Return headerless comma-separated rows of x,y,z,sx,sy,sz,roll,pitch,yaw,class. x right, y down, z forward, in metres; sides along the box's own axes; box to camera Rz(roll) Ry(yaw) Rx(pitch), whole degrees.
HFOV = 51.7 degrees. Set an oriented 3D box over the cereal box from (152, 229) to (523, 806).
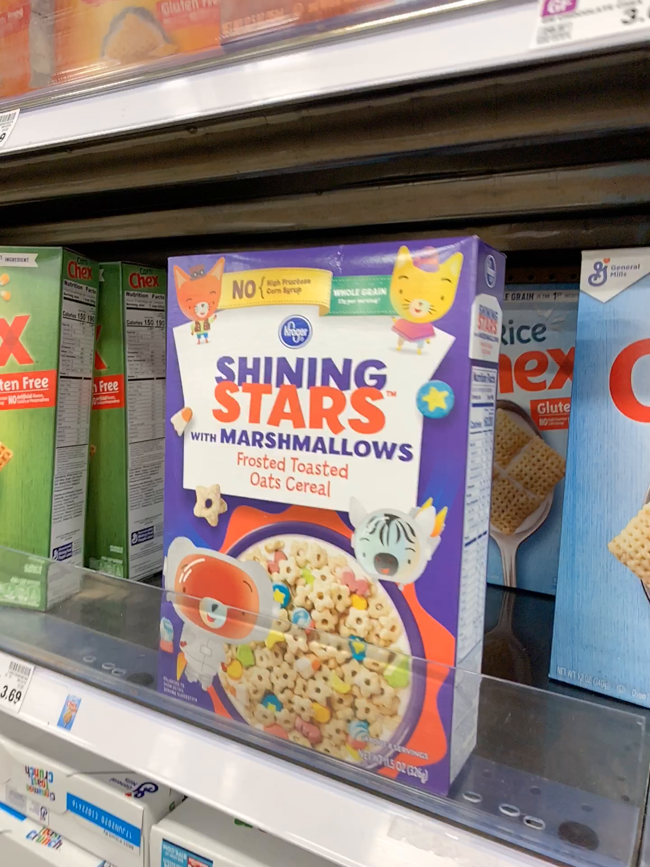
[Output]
-0.002,0.035,0.380,0.200,0.270,0.050,4,4,28,cereal box
